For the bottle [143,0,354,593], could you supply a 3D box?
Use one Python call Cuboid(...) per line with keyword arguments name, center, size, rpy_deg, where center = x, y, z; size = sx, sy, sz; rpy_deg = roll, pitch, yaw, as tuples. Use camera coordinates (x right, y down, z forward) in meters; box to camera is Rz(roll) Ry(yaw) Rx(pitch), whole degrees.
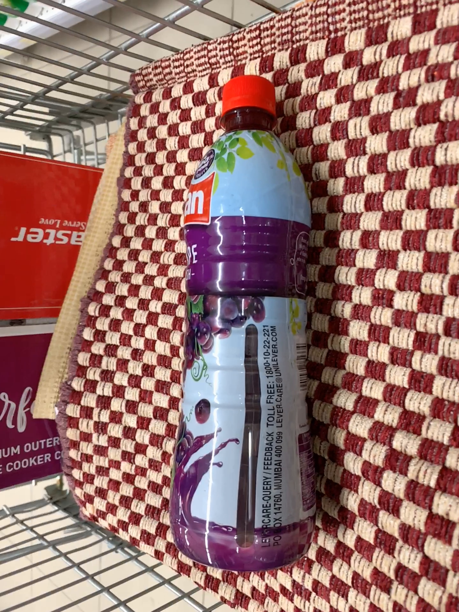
Cuboid(name="bottle", center=(0.007, -0.005, 0.232), size=(0.080, 0.080, 0.240), rpy_deg=(137, 134, -86))
